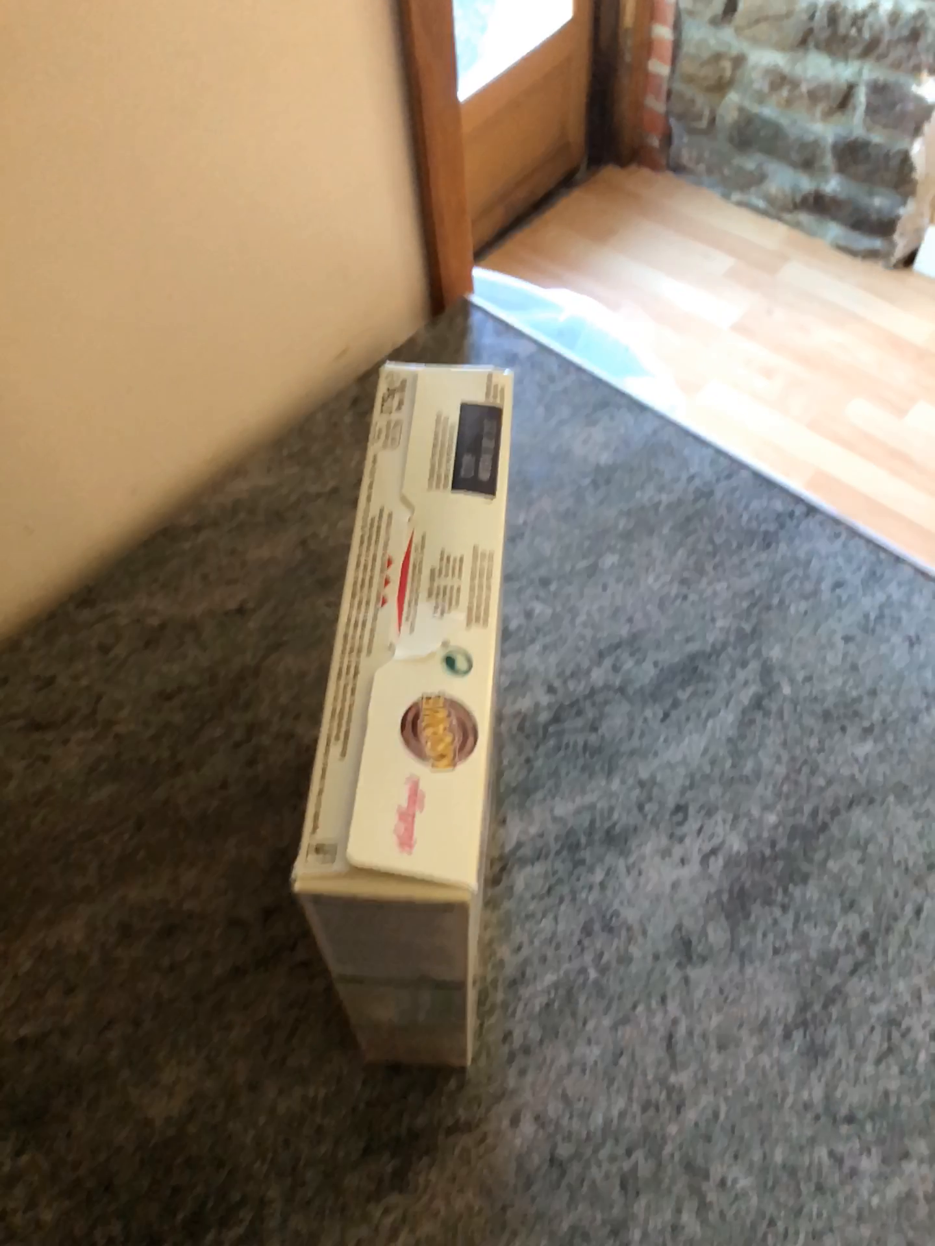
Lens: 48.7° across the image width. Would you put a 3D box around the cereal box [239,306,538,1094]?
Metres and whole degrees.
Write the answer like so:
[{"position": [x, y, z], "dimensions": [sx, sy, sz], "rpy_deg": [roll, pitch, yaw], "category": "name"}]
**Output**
[{"position": [-0.019, 0.047, 0.408], "dimensions": [0.070, 0.249, 0.211], "rpy_deg": [3, 55, 0], "category": "cereal box"}]
